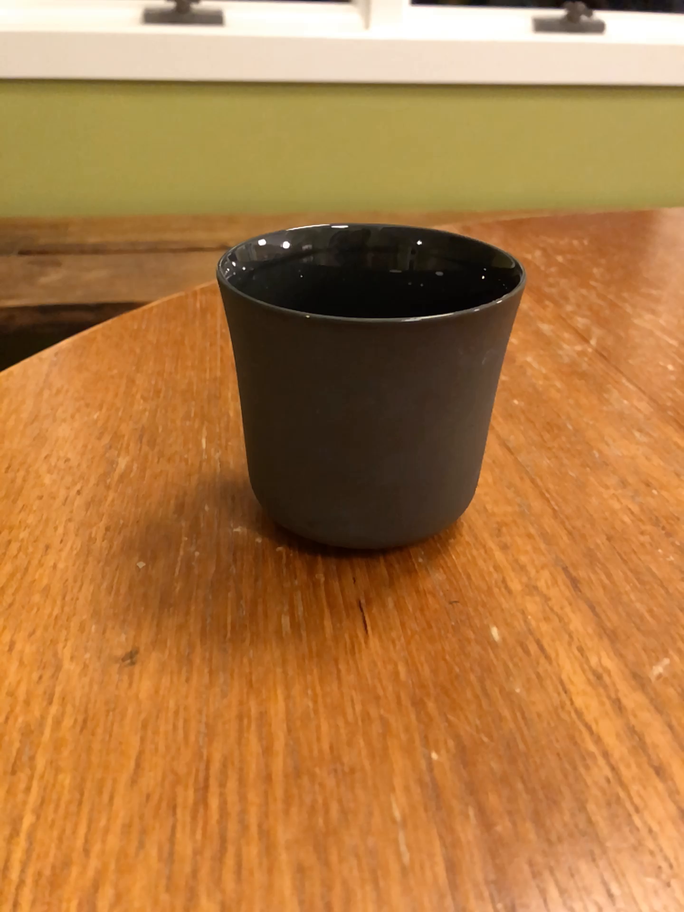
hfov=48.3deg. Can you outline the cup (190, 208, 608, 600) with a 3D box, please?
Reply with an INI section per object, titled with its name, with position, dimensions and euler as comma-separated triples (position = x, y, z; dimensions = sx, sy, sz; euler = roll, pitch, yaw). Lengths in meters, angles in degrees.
[cup]
position = 0.008, -0.020, 0.203
dimensions = 0.079, 0.068, 0.075
euler = 1, 31, -1
